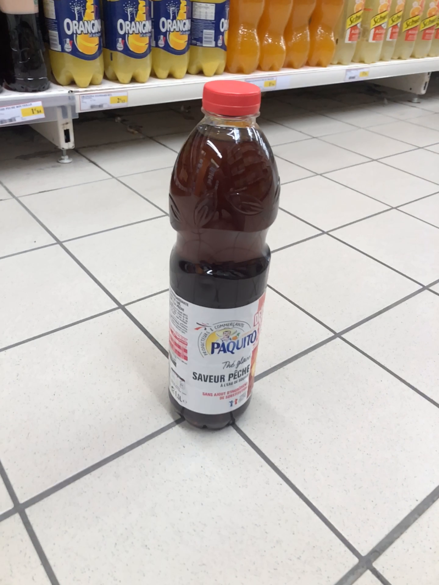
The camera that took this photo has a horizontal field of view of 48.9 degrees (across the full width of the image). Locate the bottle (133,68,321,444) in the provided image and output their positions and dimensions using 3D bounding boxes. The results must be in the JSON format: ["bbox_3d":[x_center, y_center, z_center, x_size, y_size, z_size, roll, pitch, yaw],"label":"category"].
[{"bbox_3d":[-0.004,-0.021,0.404,0.090,0.288,0.090,3,33,-2],"label":"bottle"}]
